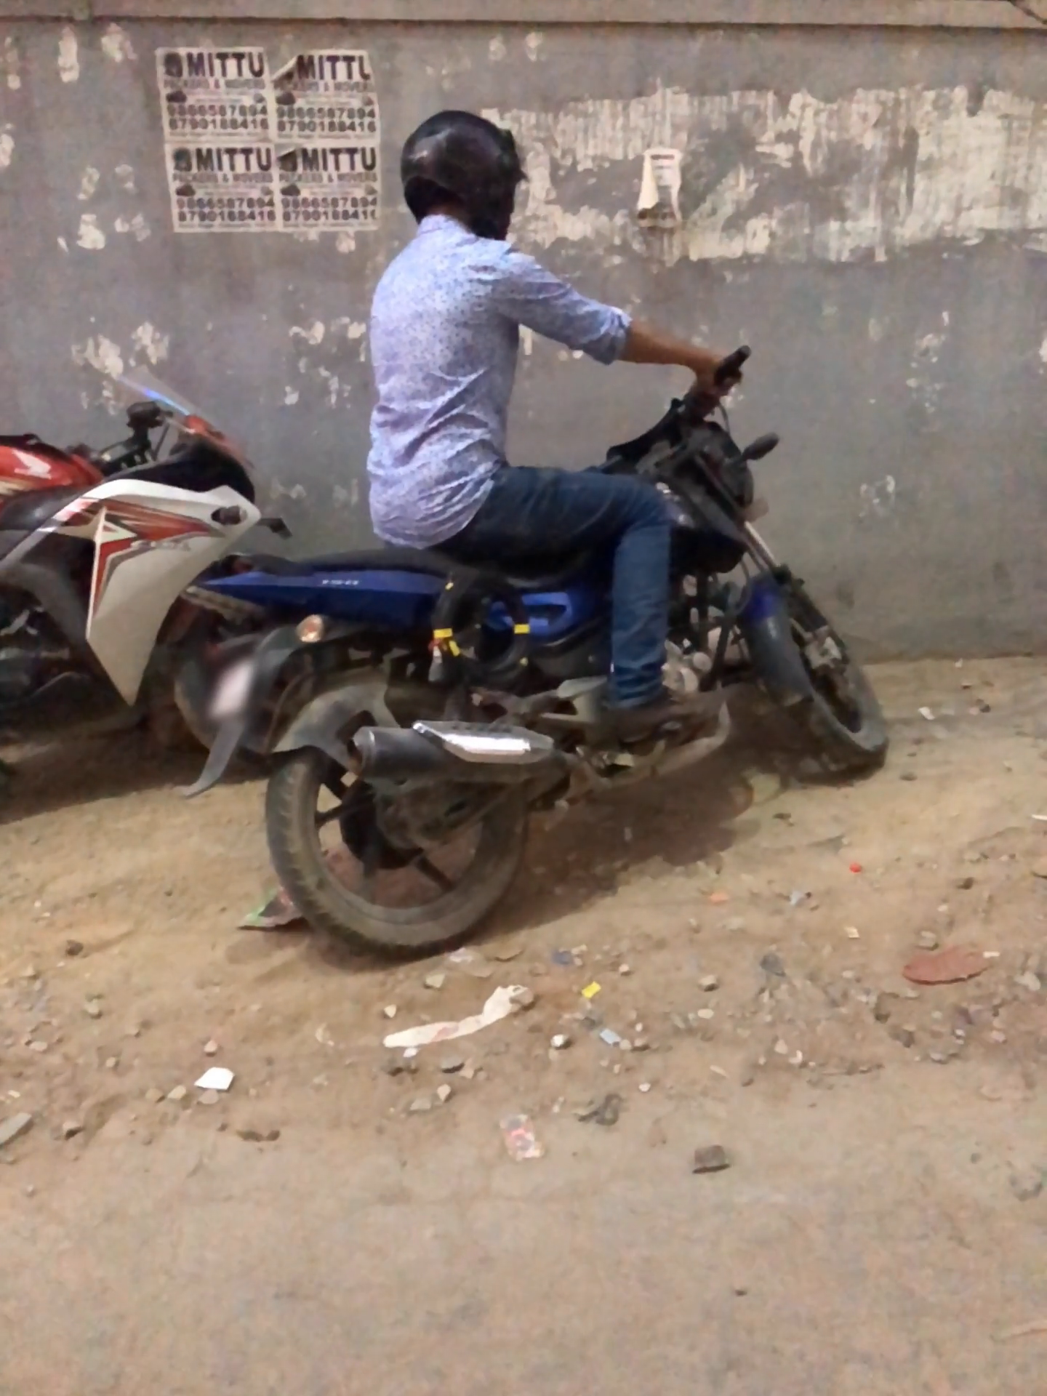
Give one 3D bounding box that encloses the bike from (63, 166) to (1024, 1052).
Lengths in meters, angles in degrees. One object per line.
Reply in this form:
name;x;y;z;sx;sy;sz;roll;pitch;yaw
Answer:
bike;0.063;-0.364;2.541;1.508;1.113;1.093;-28;32;-36
